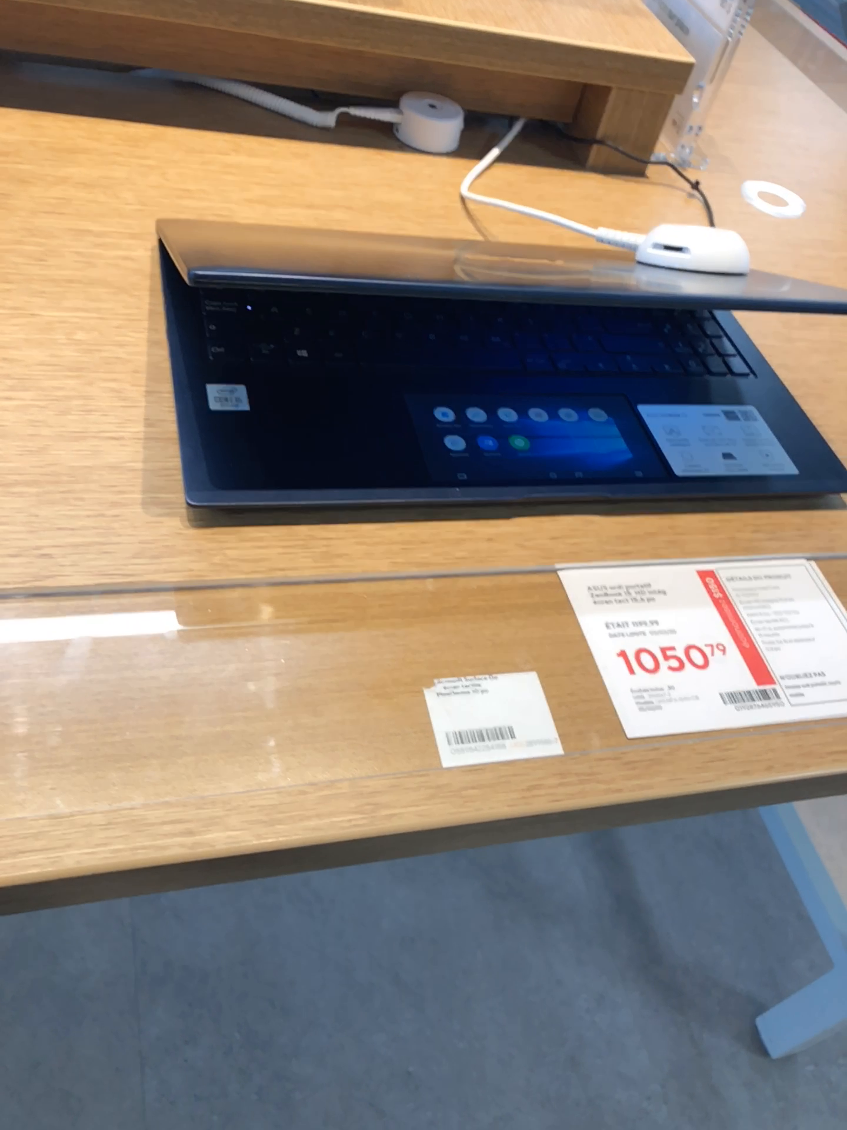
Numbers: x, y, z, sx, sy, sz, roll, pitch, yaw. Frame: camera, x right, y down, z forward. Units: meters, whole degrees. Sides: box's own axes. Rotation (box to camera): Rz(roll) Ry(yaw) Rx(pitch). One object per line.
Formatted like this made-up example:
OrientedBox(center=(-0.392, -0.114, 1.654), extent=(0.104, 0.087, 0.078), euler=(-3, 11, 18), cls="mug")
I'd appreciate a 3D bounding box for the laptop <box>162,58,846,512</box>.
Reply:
OrientedBox(center=(0.055, -0.140, 0.478), extent=(0.352, 0.098, 0.209), euler=(-3, 49, -19), cls="laptop")
